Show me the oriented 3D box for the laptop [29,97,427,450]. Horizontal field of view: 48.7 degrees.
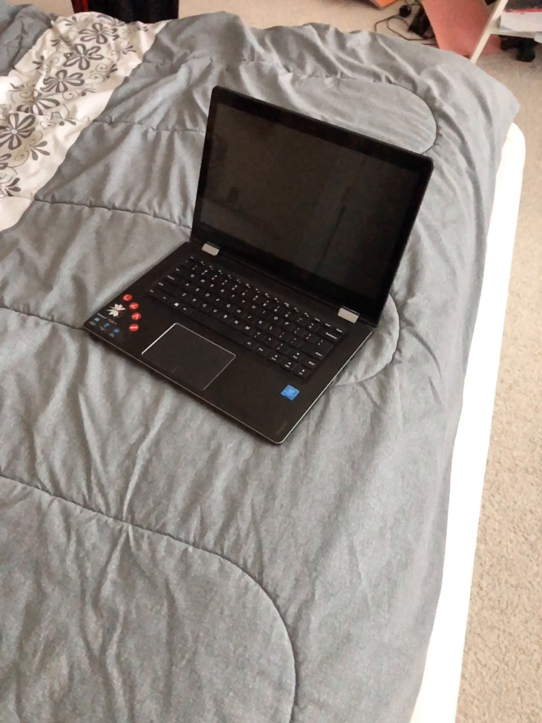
[{"bbox_3d":[-0.041,-0.144,0.838,0.361,0.214,0.352,29,58,22],"label":"laptop"}]
